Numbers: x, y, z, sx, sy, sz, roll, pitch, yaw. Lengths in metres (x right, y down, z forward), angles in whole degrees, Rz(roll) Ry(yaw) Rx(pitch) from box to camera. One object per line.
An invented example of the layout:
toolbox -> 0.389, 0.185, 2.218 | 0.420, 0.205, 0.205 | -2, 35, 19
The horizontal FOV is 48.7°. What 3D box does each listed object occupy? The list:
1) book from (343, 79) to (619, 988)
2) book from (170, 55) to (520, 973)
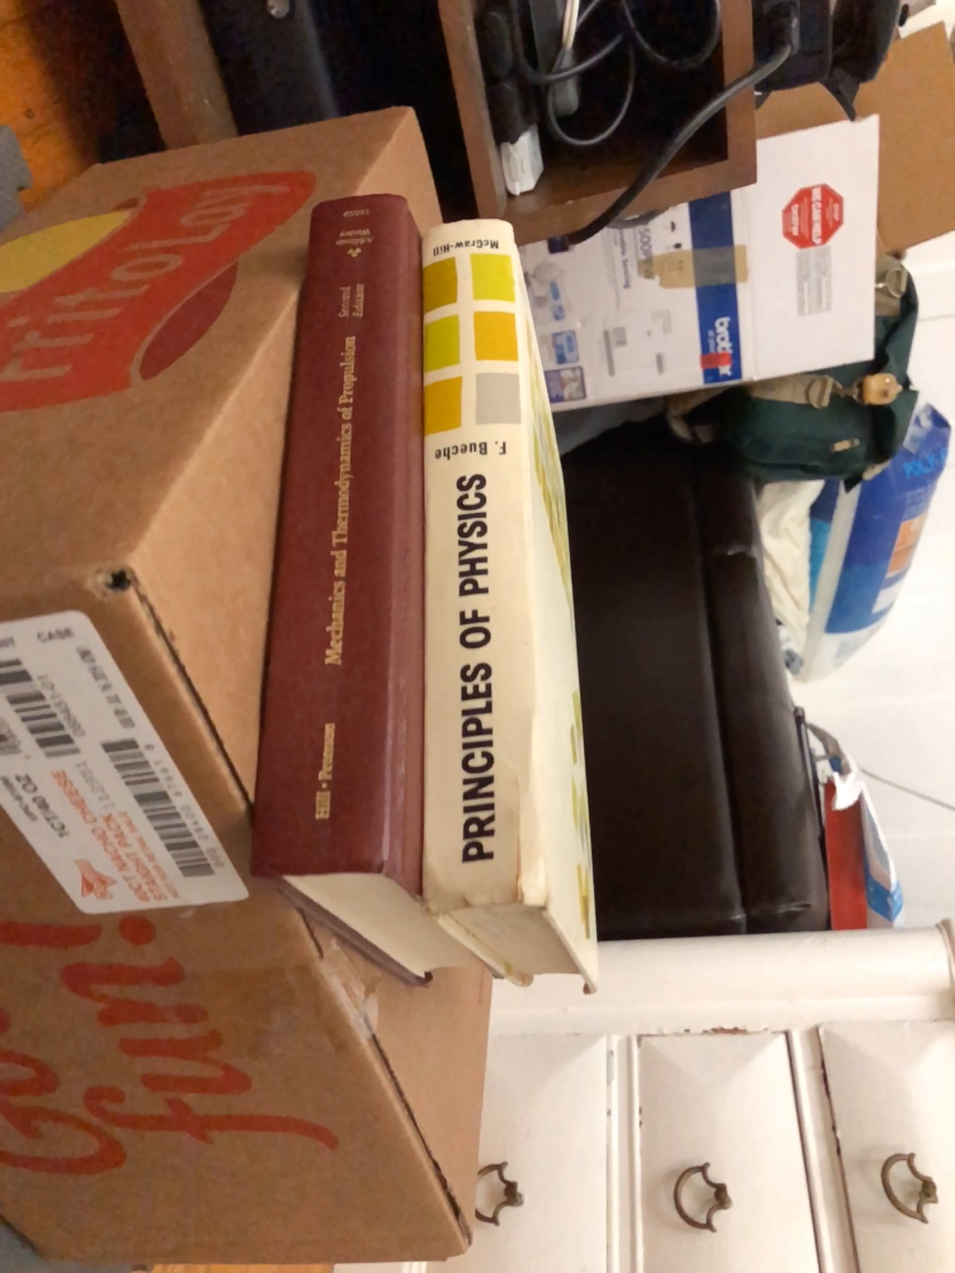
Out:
book -> 0.005, -0.024, 0.361 | 0.180, 0.040, 0.250 | 62, 23, -61
book -> -0.029, -0.034, 0.359 | 0.180, 0.040, 0.250 | 64, 21, -58
